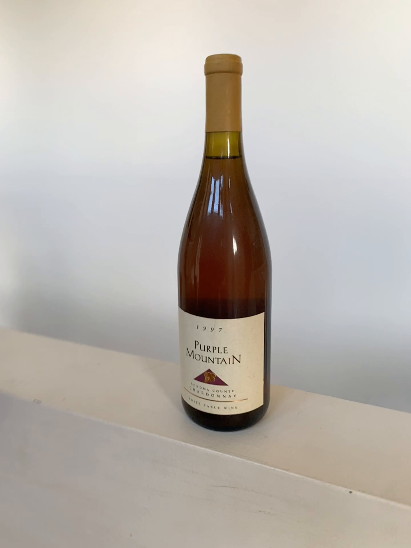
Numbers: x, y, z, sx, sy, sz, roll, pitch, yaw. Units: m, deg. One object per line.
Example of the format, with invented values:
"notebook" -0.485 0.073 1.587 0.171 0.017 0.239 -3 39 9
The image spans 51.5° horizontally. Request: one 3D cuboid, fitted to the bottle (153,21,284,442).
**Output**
"bottle" 0.016 -0.025 0.360 0.080 0.309 0.080 -1 14 0
